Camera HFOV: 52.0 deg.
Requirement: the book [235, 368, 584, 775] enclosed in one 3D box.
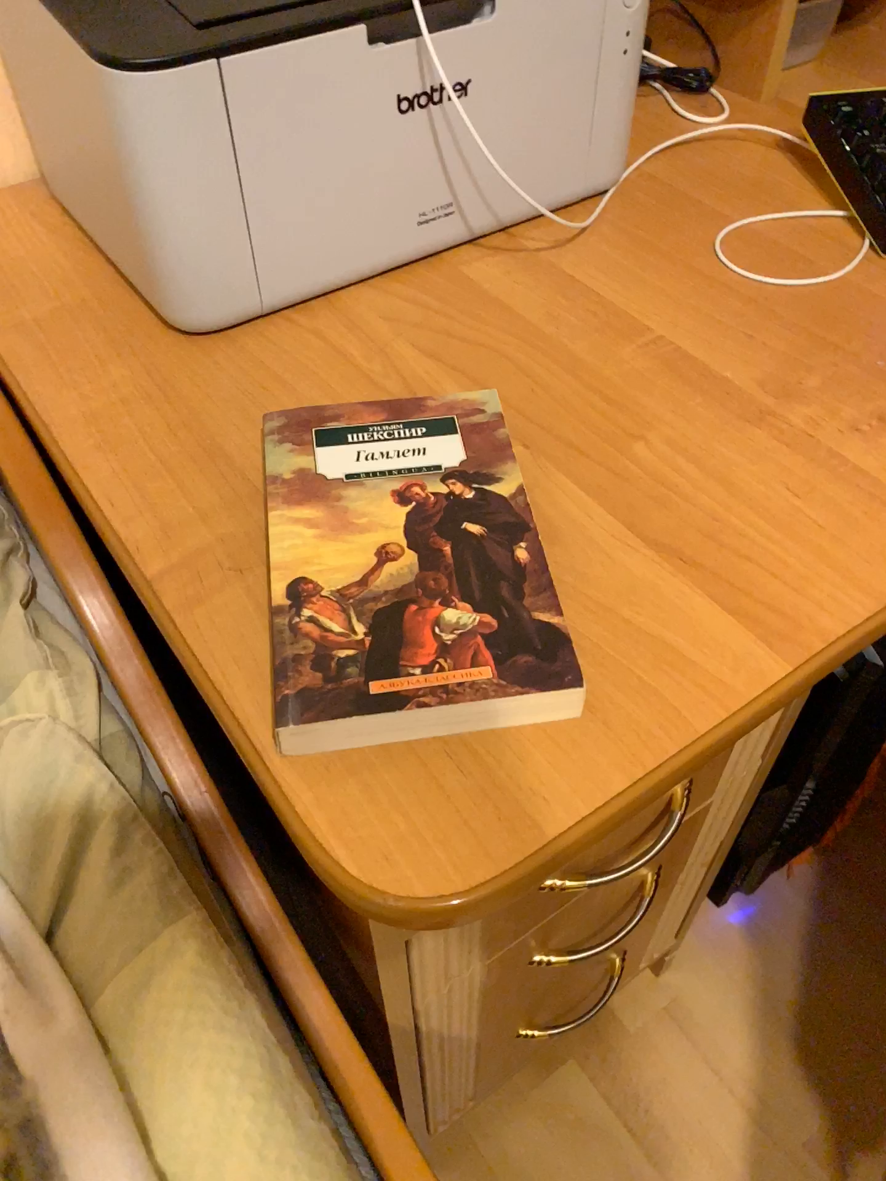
[{"bbox_3d":[-0.023,-0.021,0.384,0.120,0.030,0.191,-6,49,-5],"label":"book"}]
